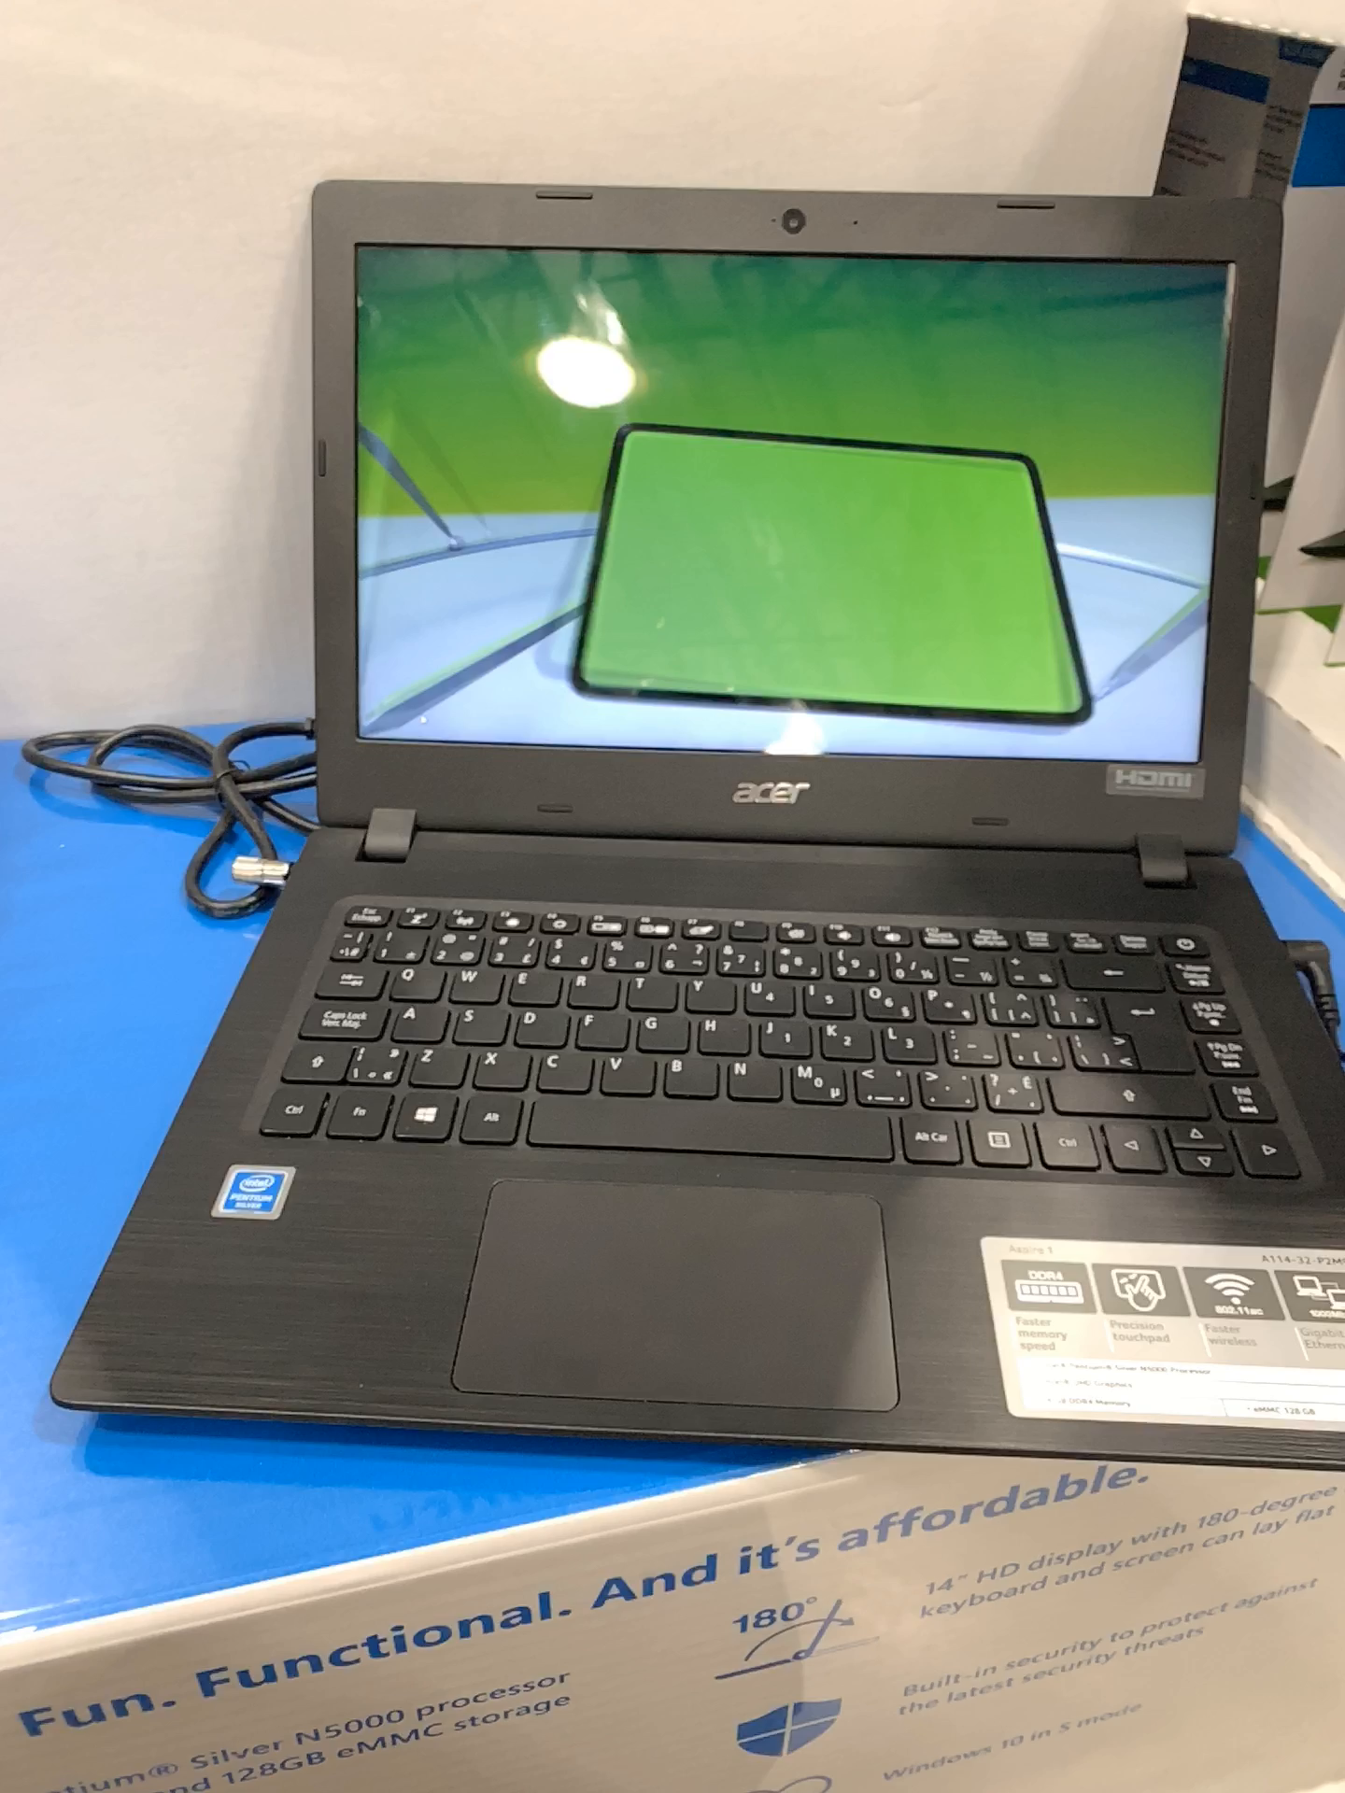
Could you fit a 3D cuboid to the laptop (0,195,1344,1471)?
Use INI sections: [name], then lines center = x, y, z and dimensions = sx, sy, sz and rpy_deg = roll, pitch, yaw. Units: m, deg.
[laptop]
center = 0.033, -0.056, 0.378
dimensions = 0.318, 0.186, 0.329
rpy_deg = 2, 36, 2
